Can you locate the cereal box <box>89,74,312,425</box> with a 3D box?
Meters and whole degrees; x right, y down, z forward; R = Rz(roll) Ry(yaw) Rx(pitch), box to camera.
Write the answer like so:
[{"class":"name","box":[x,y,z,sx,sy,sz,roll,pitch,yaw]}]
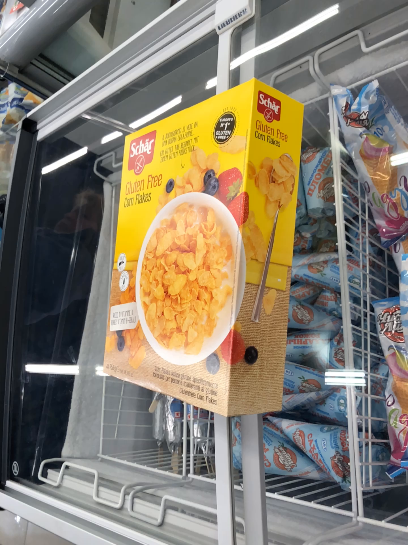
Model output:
[{"class":"cereal box","box":[-0.014,-0.016,0.431,0.201,0.080,0.260,0,83,50]}]
